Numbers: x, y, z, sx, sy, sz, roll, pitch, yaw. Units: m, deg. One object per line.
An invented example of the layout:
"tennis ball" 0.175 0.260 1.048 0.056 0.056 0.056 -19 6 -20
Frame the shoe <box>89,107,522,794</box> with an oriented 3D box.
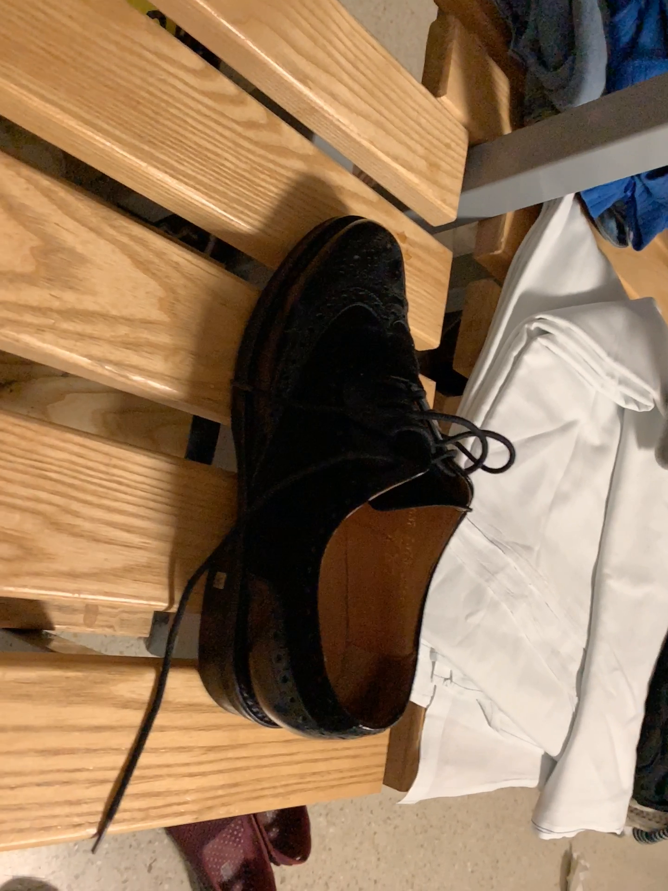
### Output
"shoe" -0.003 0.003 0.303 0.100 0.095 0.251 26 71 -41
